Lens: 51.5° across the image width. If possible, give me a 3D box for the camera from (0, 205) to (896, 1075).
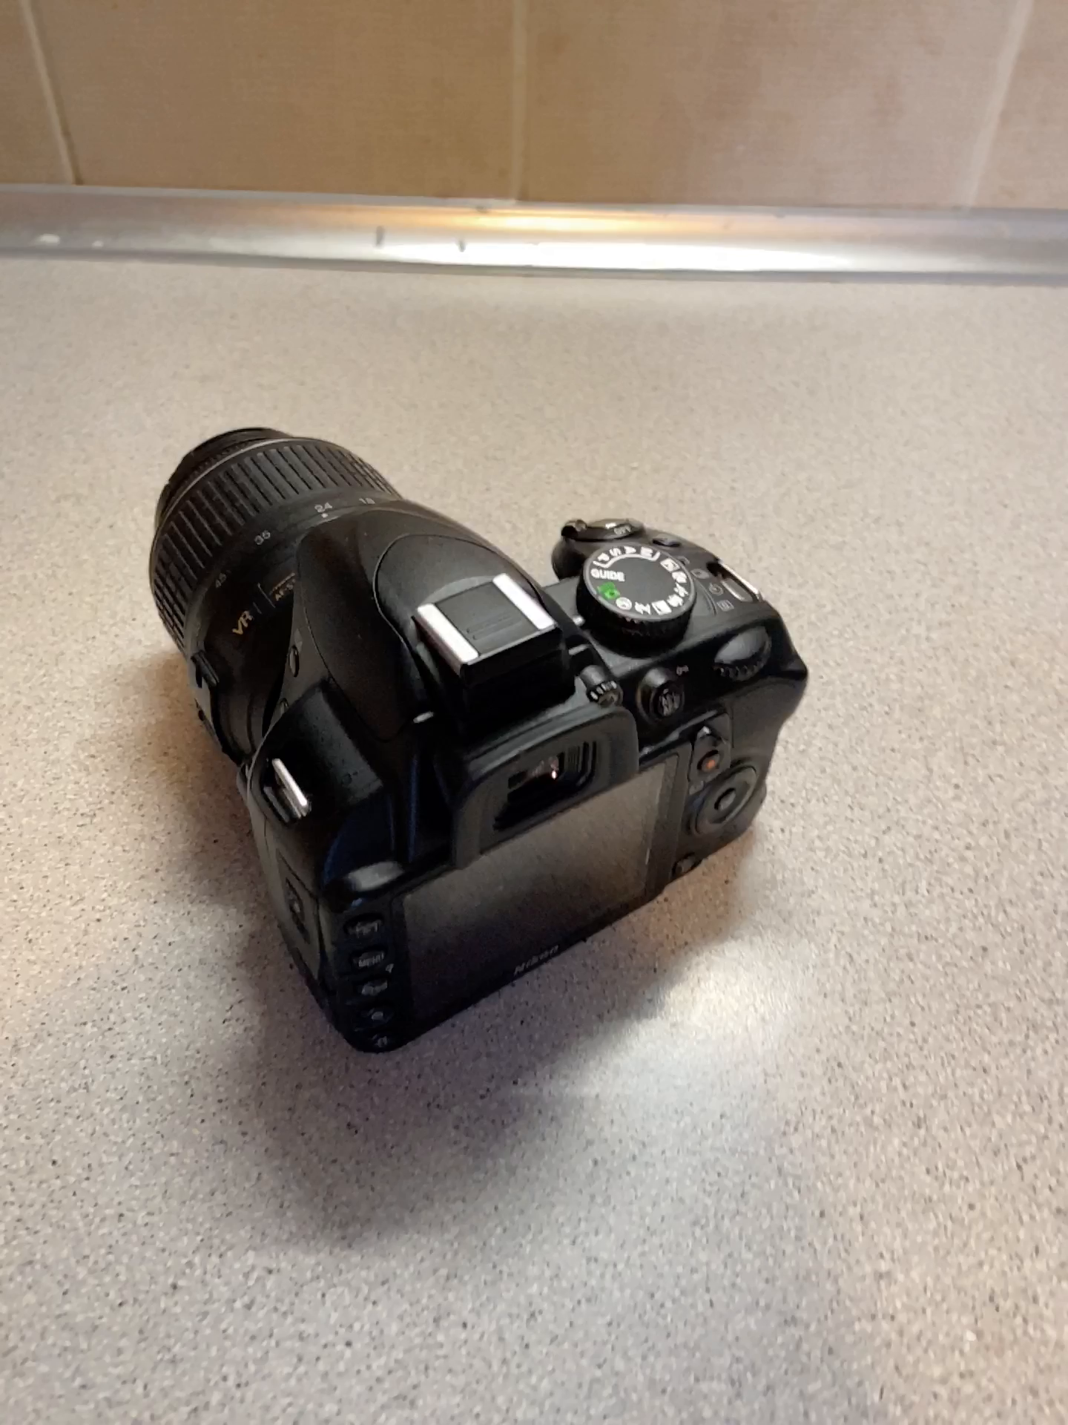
[{"bbox_3d":[-0.031,-0.034,0.272,0.122,0.091,0.178,-24,52,-23],"label":"camera"}]
